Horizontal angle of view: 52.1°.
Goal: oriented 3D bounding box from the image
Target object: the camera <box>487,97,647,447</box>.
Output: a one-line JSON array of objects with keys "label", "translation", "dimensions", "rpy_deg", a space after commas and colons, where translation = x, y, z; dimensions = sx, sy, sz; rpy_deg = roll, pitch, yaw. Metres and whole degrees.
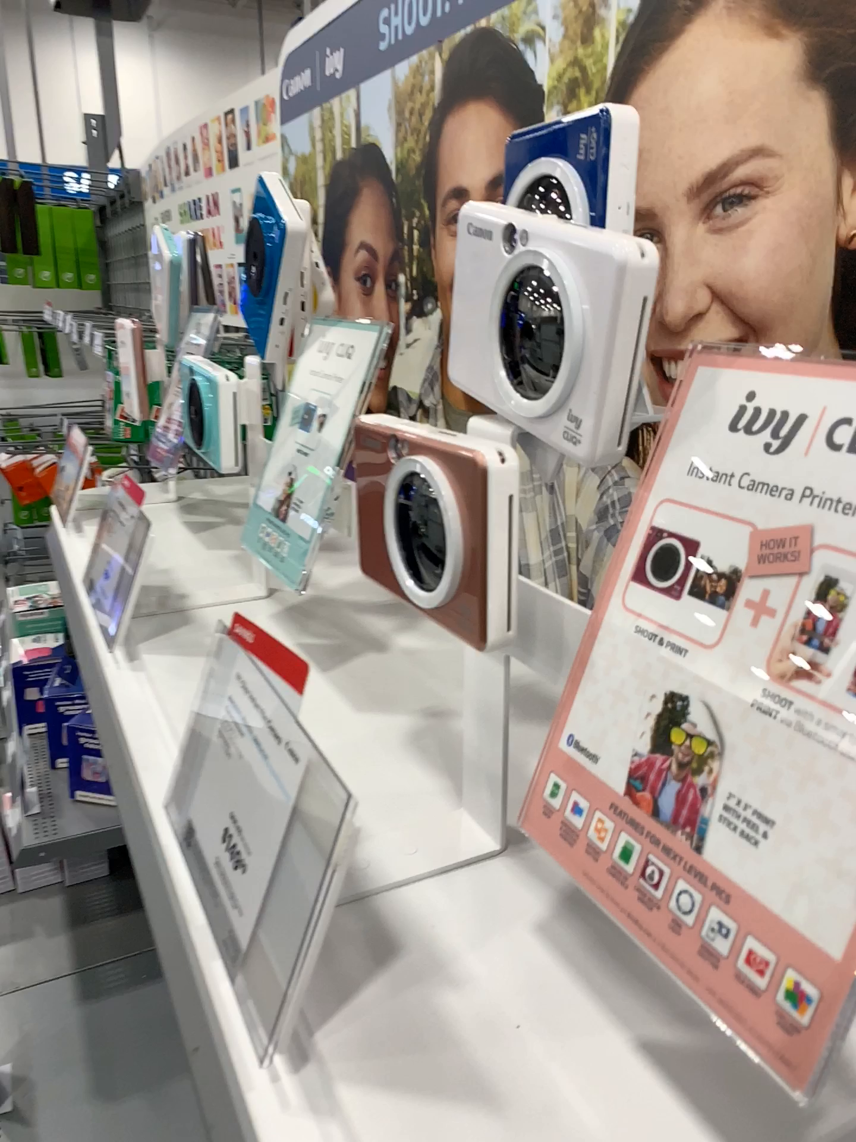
[{"label": "camera", "translation": [0.056, -0.126, 0.383], "dimensions": [0.030, 0.130, 0.080], "rpy_deg": [-6, 17, -18]}]

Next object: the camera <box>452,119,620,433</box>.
[{"label": "camera", "translation": [0.048, -0.139, 0.427], "dimensions": [0.030, 0.120, 0.080], "rpy_deg": [-6, -12, -18]}]

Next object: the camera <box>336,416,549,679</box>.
[{"label": "camera", "translation": [0.001, -0.017, 0.366], "dimensions": [0.030, 0.080, 0.120], "rpy_deg": [-9, 20, -28]}]

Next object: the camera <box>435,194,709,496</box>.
[{"label": "camera", "translation": [0.048, -0.096, 0.352], "dimensions": [0.030, 0.089, 0.121], "rpy_deg": [-9, 30, -27]}]
